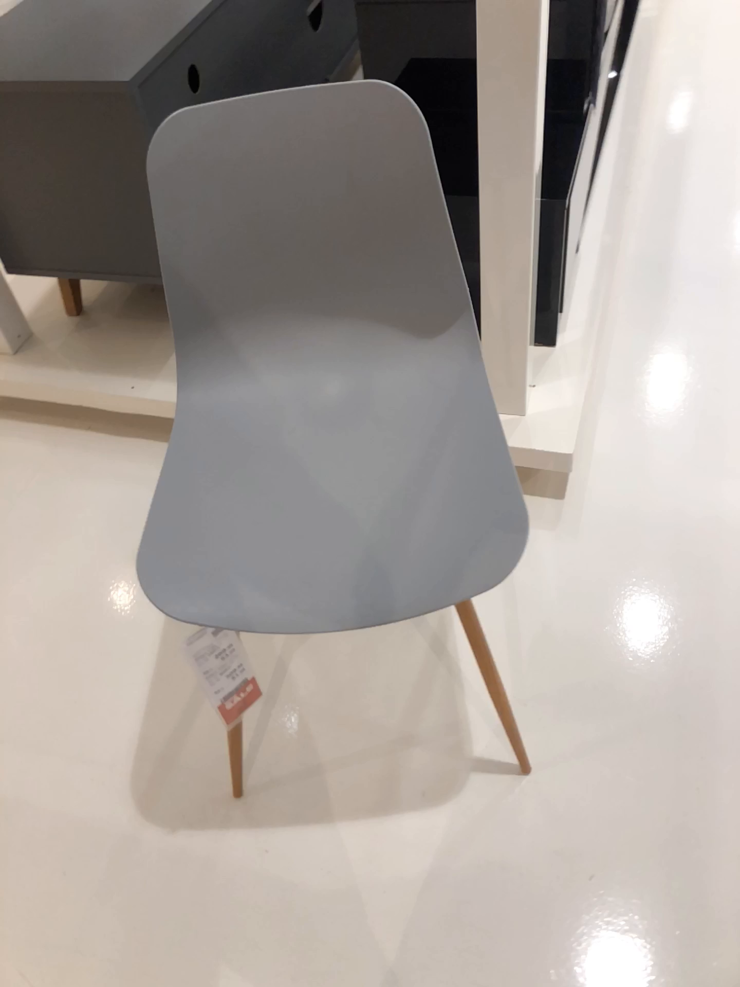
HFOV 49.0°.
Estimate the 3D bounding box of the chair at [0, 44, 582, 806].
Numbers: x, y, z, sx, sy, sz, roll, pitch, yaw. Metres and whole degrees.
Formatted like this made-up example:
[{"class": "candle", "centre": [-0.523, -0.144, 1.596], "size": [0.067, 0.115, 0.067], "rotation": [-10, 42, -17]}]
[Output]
[{"class": "chair", "centre": [-0.046, -0.011, 1.026], "size": [0.470, 0.814, 0.473], "rotation": [-6, 48, 4]}]
